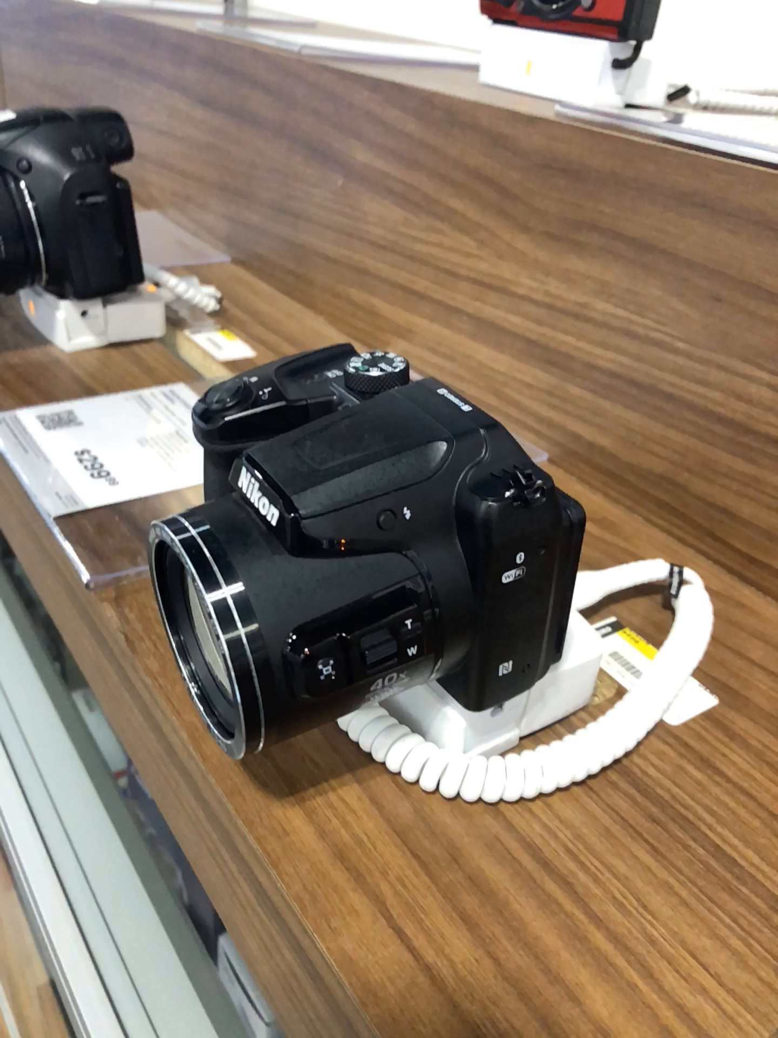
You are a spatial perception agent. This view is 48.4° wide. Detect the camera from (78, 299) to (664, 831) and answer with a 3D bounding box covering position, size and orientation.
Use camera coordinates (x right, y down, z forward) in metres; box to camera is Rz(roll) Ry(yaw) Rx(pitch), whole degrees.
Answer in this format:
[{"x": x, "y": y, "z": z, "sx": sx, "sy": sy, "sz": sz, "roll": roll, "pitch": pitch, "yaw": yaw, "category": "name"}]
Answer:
[{"x": -0.012, "y": -0.001, "z": 0.244, "sx": 0.110, "sy": 0.079, "sz": 0.111, "roll": -14, "pitch": 37, "yaw": -32, "category": "camera"}]
